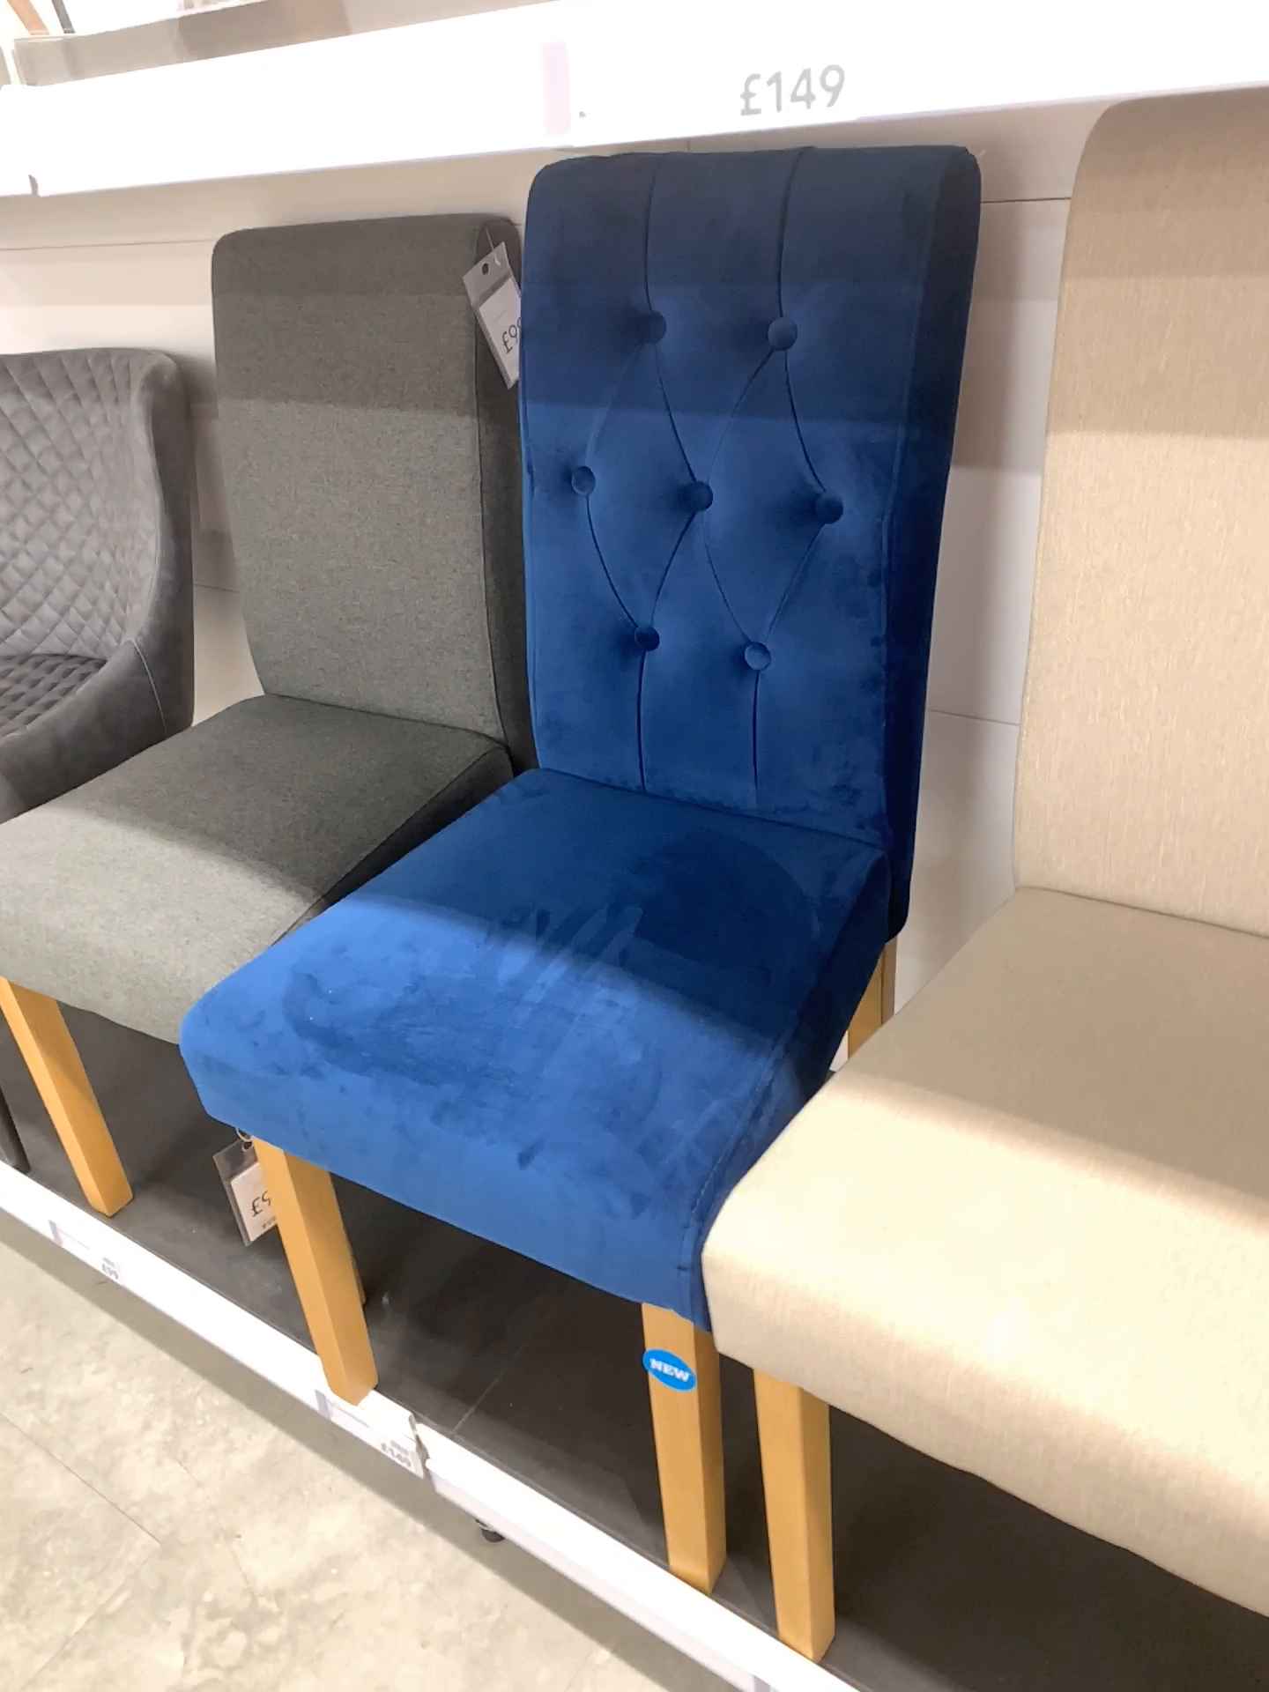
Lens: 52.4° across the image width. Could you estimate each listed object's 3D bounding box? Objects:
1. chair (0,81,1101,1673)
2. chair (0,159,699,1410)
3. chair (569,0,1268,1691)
[{"bbox_3d":[0.003,-0.030,1.115,0.491,1.035,0.670,14,32,32],"label":"chair"},{"bbox_3d":[-0.336,-0.119,1.357,0.491,1.025,0.670,14,32,32],"label":"chair"},{"bbox_3d":[0.396,0.068,0.852,0.491,1.035,0.670,14,32,32],"label":"chair"}]
